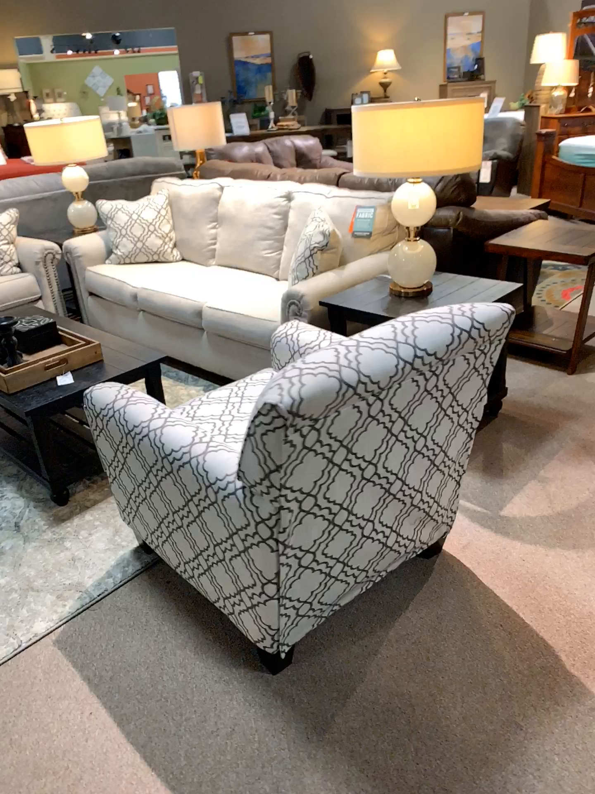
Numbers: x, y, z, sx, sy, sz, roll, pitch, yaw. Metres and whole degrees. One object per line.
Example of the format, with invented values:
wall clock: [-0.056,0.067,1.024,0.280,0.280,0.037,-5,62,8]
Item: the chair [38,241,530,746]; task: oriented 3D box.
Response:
chair: [-0.046,0.114,1.775,0.875,0.847,0.968,-23,32,-34]
